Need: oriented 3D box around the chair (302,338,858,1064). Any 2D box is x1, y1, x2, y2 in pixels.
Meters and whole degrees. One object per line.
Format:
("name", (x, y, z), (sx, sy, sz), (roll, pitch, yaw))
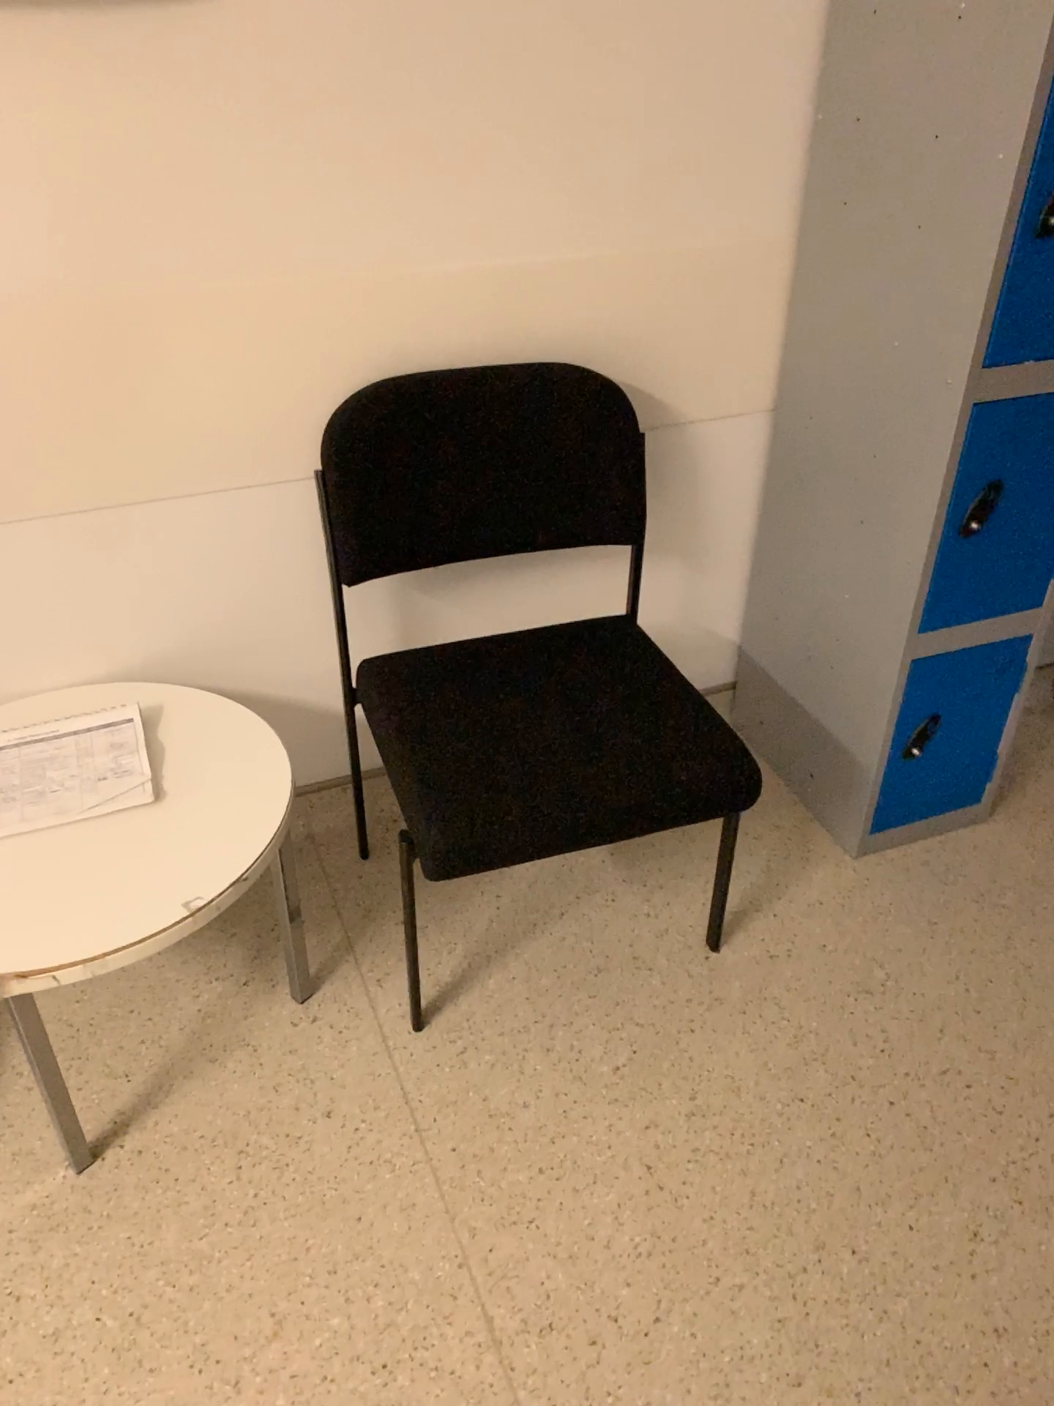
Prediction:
("chair", (0.024, -0.023, 1.585), (0.550, 0.823, 0.555), (-9, 35, -15))
